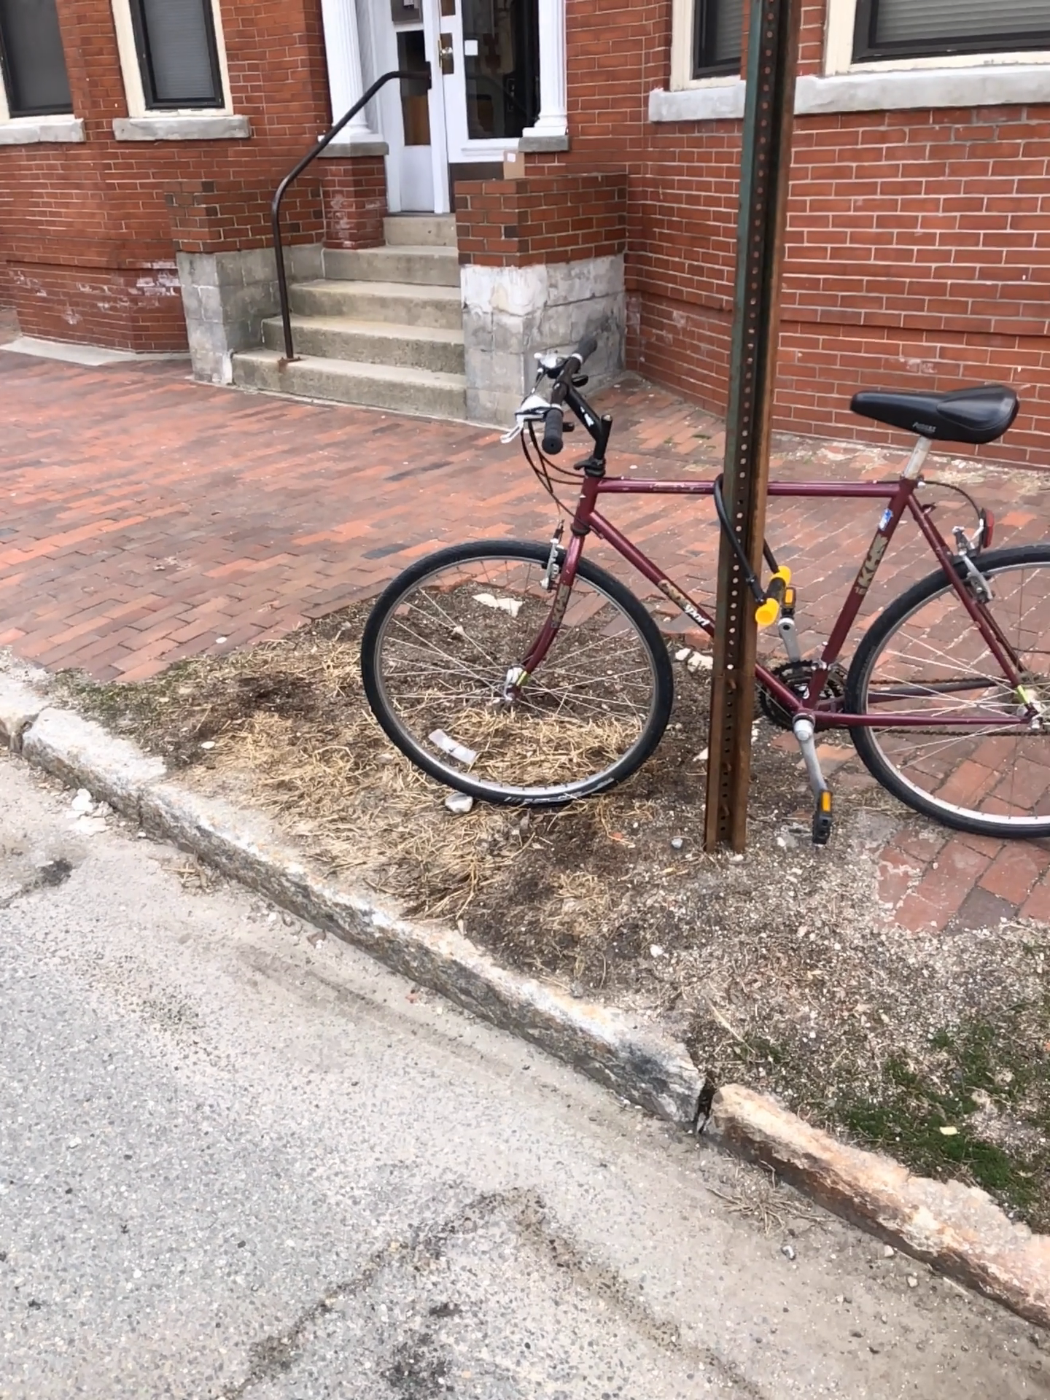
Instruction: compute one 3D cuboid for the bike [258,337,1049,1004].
[{"bbox_3d":[0.481,-0.135,2.240,1.726,1.012,0.671,4,26,12],"label":"bike"}]
